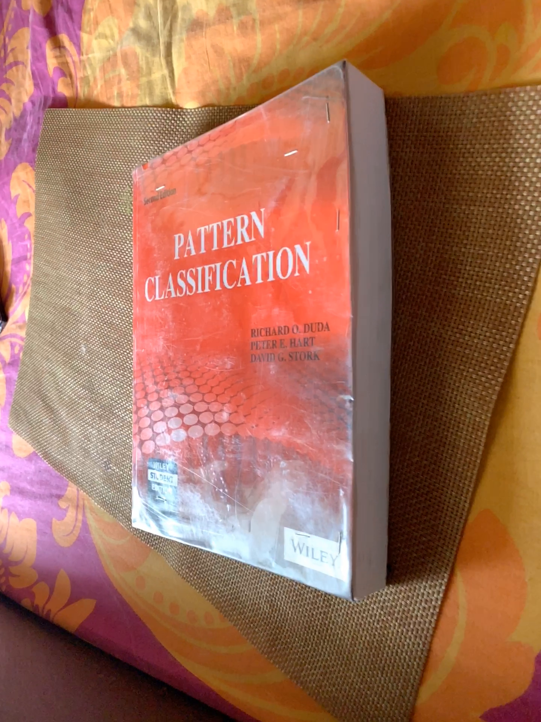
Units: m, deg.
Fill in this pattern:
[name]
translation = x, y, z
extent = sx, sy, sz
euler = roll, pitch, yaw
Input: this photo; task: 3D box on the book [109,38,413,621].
[book]
translation = -0.017, -0.013, 0.296
extent = 0.181, 0.040, 0.230
euler = -1, 87, 43
